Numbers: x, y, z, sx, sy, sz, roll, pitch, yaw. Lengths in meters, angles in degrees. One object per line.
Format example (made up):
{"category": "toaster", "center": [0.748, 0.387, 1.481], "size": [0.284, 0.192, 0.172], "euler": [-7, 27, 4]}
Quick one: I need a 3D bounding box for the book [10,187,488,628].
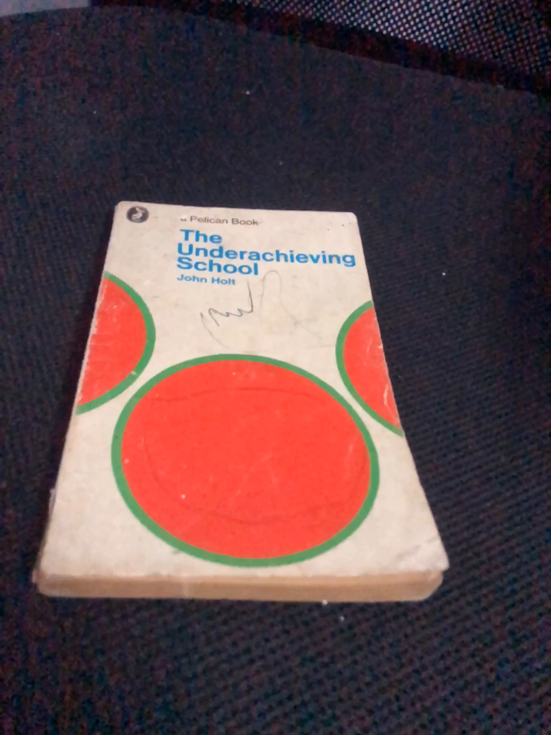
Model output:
{"category": "book", "center": [-0.010, -0.003, 0.222], "size": [0.120, 0.020, 0.182], "euler": [3, 47, -8]}
